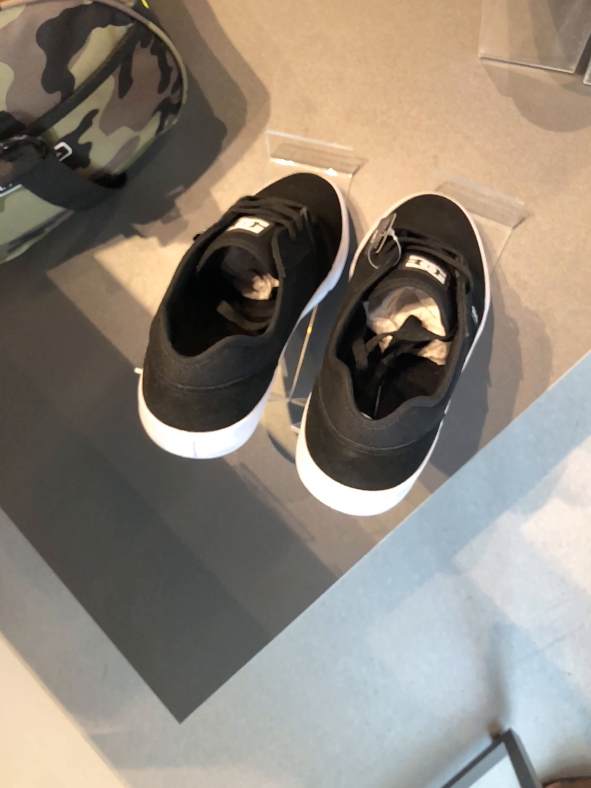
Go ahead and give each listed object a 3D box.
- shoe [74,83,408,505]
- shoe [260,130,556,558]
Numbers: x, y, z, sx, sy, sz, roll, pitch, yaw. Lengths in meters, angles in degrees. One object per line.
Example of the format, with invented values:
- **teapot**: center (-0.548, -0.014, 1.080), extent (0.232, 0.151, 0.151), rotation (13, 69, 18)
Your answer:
- **shoe**: center (-0.020, -0.070, 0.408), extent (0.106, 0.107, 0.229), rotation (18, 56, 7)
- **shoe**: center (0.073, -0.039, 0.410), extent (0.106, 0.107, 0.229), rotation (20, 56, 7)
